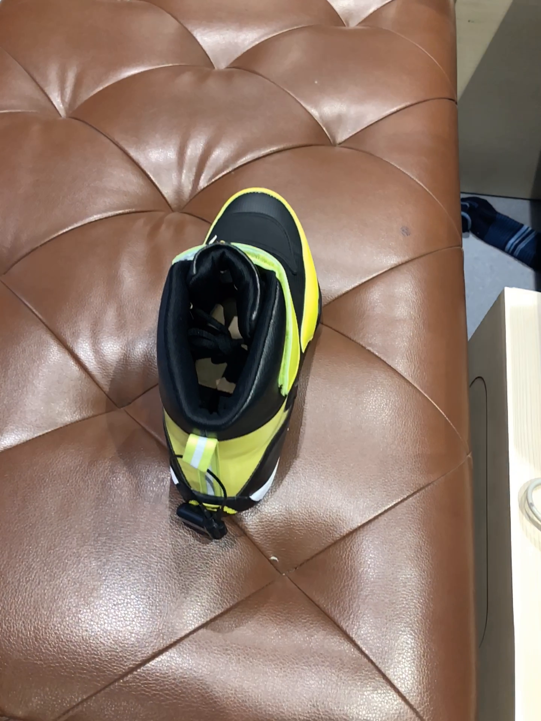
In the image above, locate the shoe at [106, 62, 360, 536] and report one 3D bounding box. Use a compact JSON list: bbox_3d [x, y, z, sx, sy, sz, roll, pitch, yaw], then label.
[{"bbox_3d":[-0.012,-0.041,0.423,0.116,0.172,0.275,6,60,0],"label":"shoe"}]
